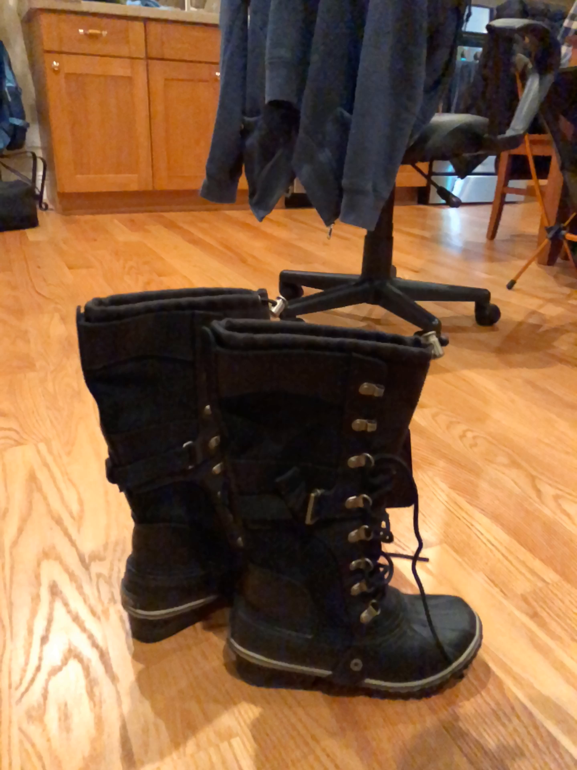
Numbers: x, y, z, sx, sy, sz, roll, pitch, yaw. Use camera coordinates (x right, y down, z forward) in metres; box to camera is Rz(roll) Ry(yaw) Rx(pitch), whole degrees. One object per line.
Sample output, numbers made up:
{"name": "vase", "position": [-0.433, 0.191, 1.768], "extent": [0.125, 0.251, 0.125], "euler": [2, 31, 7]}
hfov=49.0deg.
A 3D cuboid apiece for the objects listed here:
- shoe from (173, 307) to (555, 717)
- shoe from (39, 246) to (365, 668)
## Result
{"name": "shoe", "position": [0.043, 0.102, 0.520], "extent": [0.260, 0.308, 0.100], "euler": [-2, 23, -9]}
{"name": "shoe", "position": [-0.070, 0.053, 0.603], "extent": [0.261, 0.328, 0.100], "euler": [-14, 27, -34]}
